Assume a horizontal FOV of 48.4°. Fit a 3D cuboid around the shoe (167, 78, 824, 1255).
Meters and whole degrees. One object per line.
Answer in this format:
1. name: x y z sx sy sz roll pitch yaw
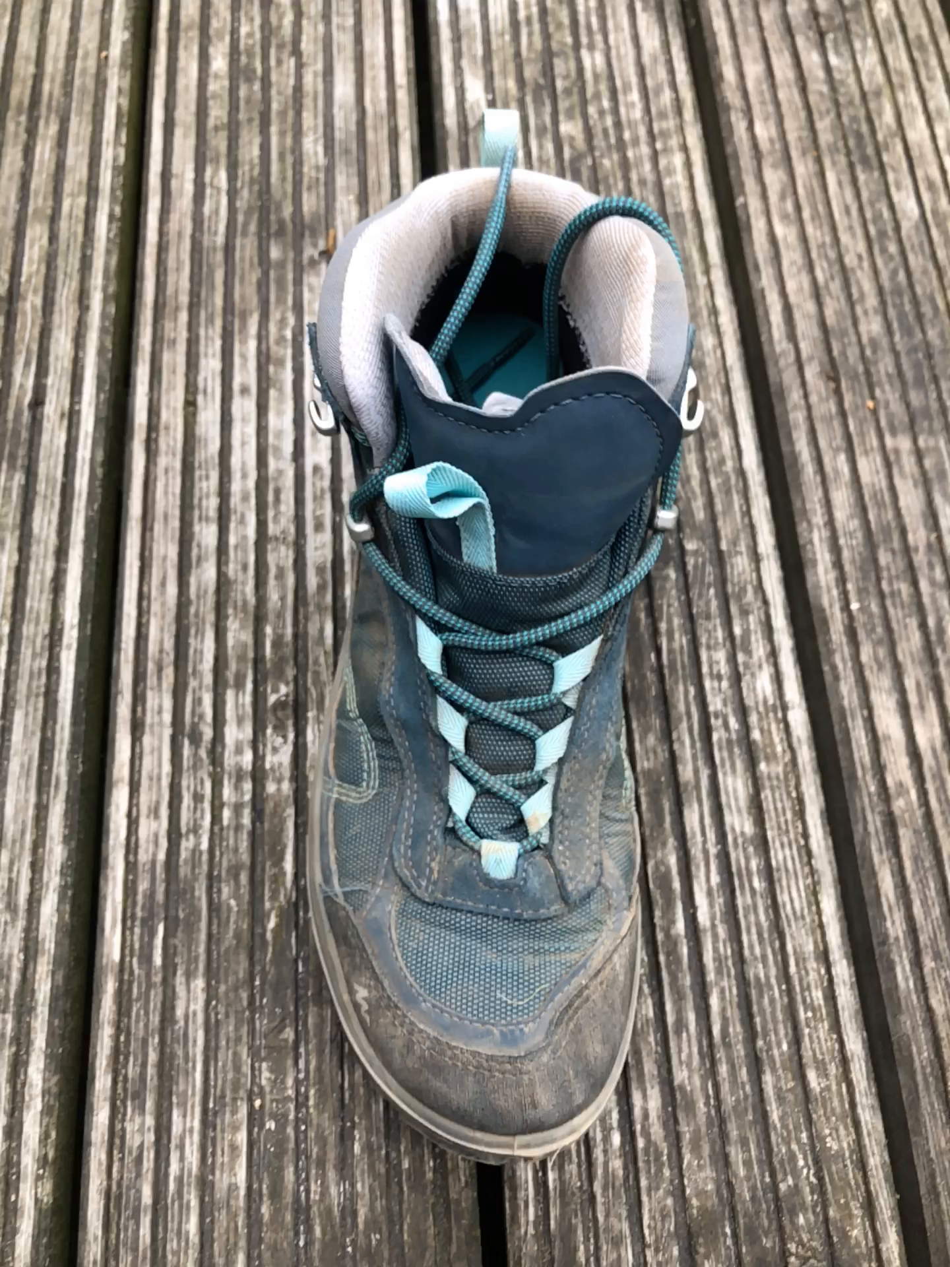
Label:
1. shoe: -0.001 0.000 0.297 0.120 0.120 0.281 -1 70 -2
